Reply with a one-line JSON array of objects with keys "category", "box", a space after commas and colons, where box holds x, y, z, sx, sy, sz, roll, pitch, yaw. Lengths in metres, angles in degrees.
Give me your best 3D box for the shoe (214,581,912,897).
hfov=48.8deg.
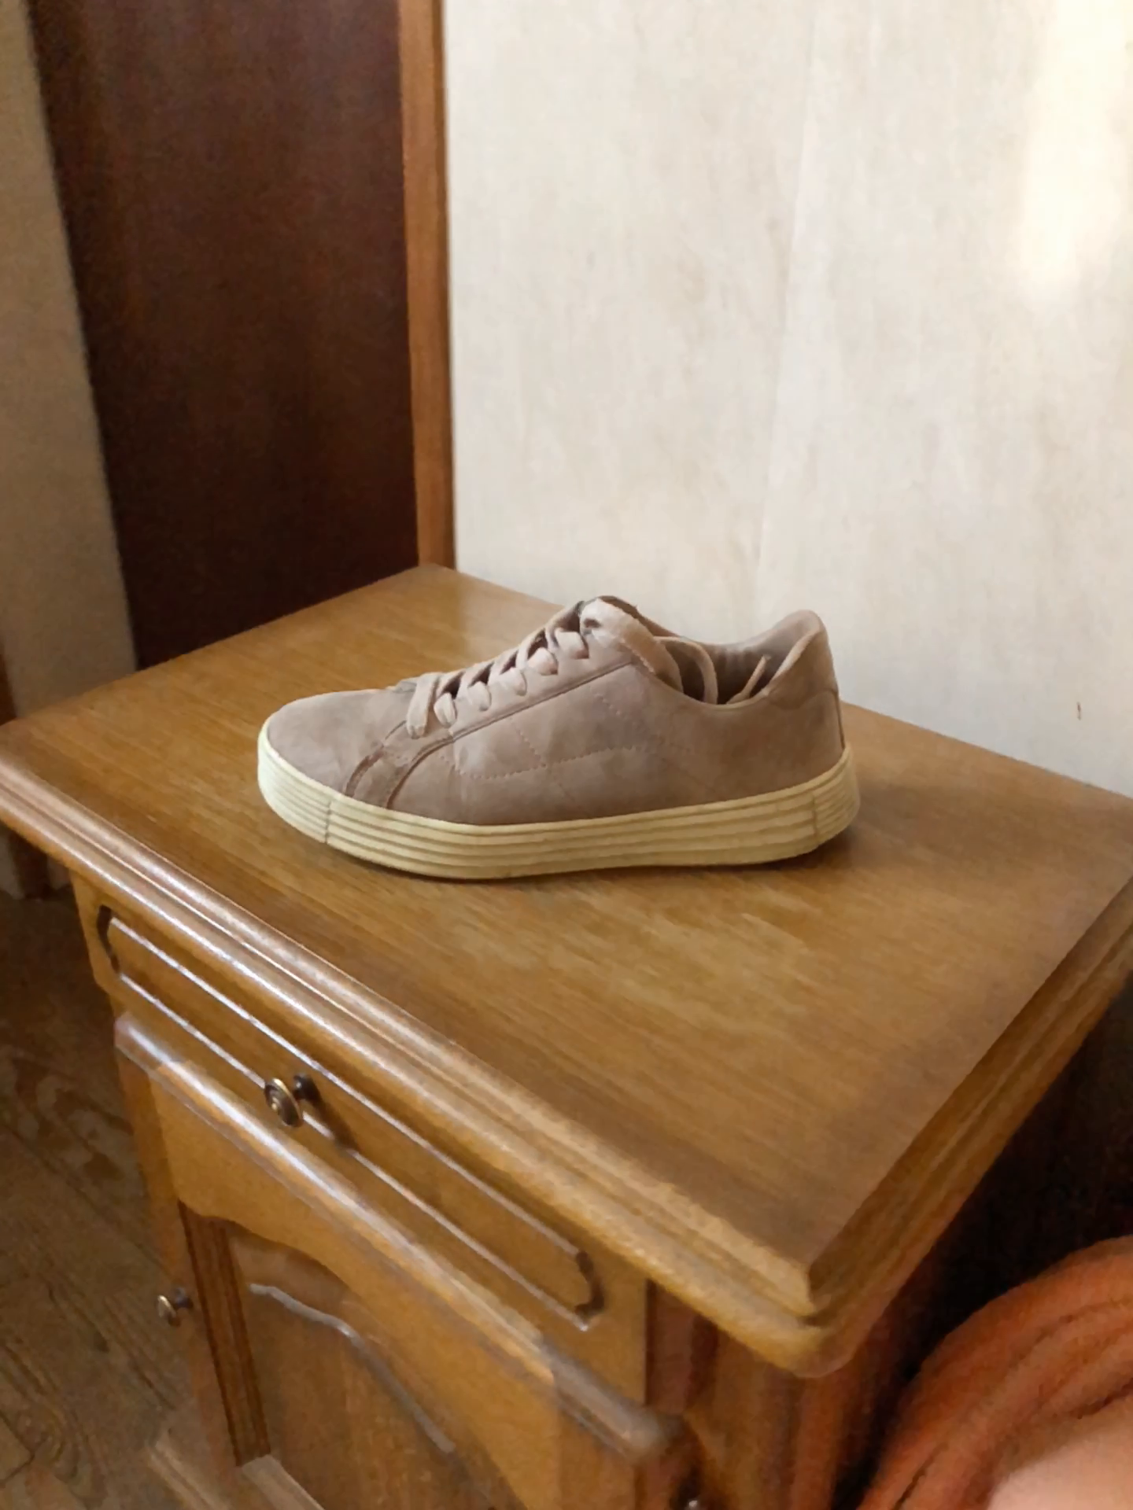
[{"category": "shoe", "box": [-0.002, -0.010, 0.535, 0.260, 0.089, 0.111, 1, 29, -1]}]
